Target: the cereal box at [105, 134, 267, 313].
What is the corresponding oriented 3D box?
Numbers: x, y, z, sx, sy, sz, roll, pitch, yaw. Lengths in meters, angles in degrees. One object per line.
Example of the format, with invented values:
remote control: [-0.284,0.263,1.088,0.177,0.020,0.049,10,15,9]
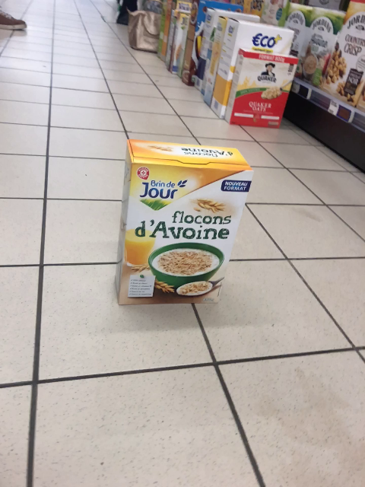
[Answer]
cereal box: [-0.008,-0.016,0.507,0.160,0.209,0.070,3,31,-15]
